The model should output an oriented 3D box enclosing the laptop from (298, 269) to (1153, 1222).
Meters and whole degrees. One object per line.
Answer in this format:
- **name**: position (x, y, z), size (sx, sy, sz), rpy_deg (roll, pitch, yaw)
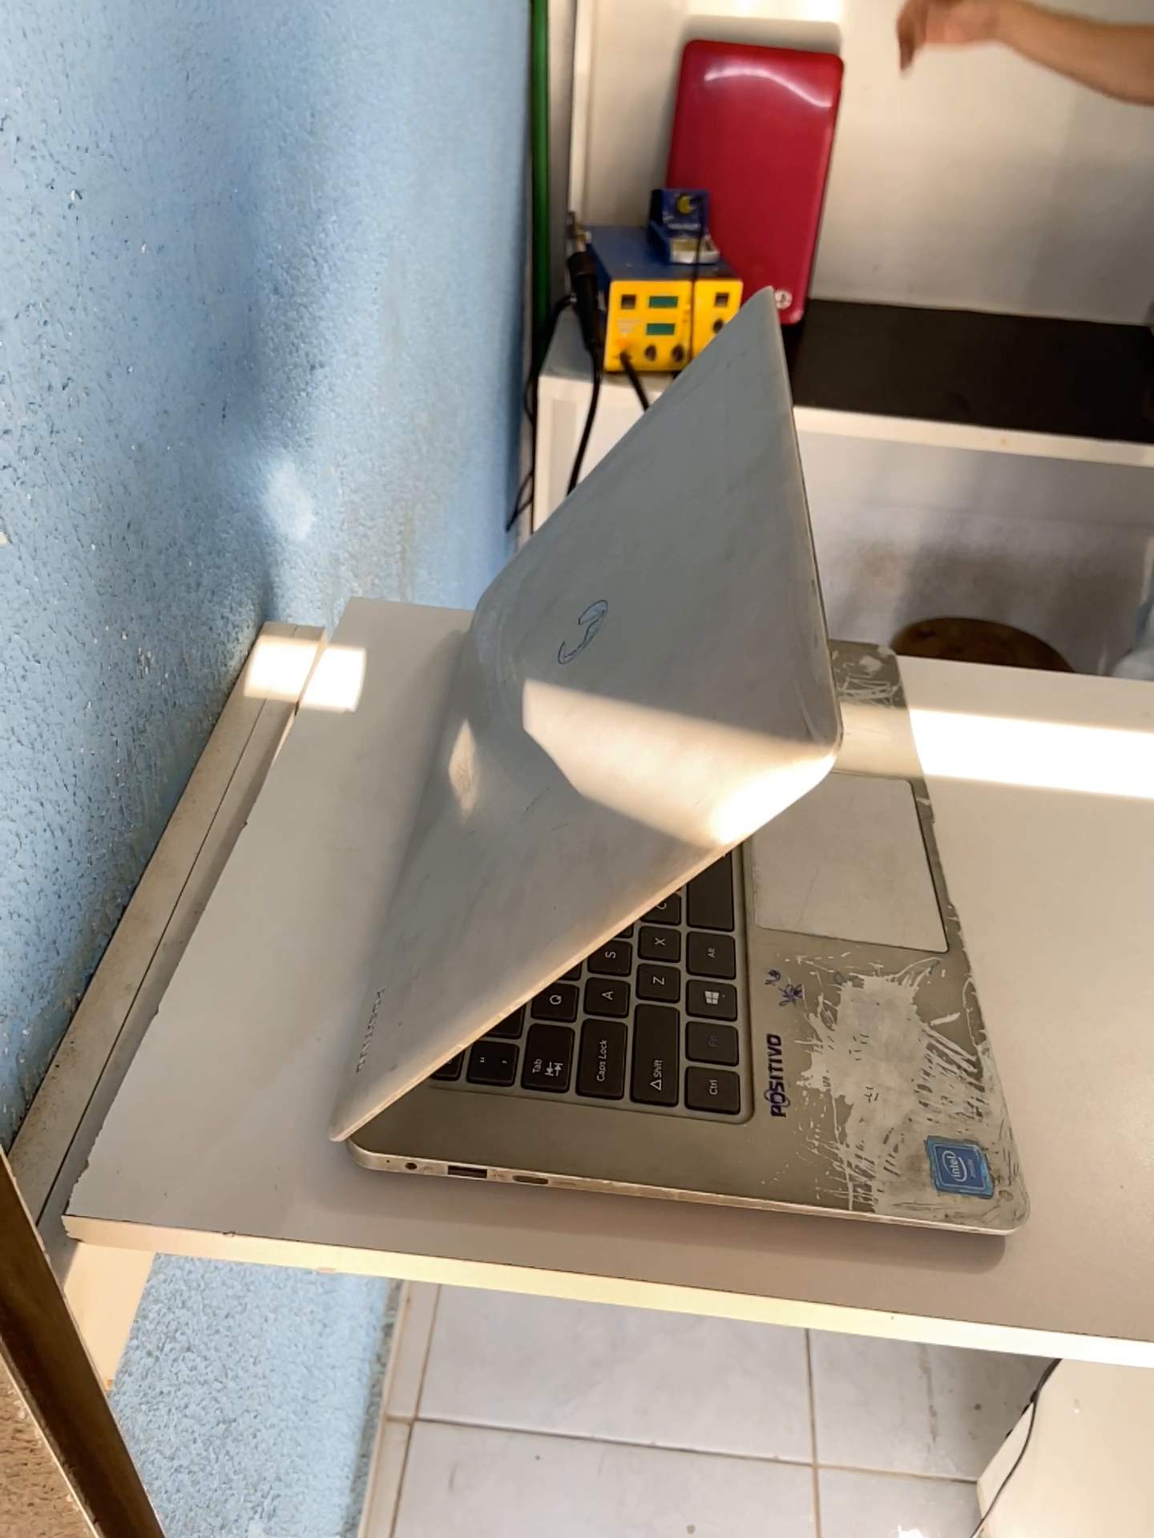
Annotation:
- **laptop**: position (0.052, -0.039, 0.444), size (0.211, 0.167, 0.328), rpy_deg (6, 39, 1)
